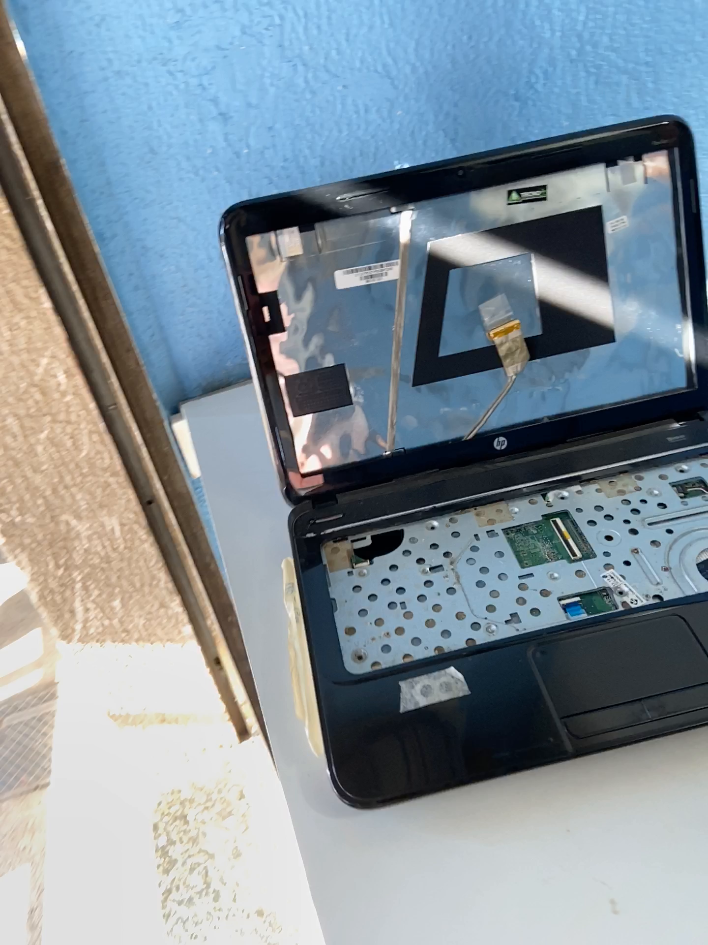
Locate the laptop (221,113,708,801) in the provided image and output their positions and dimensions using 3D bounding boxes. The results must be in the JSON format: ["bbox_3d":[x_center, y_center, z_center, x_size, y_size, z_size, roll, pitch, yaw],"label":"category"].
[{"bbox_3d":[0.113,-0.045,0.443,0.335,0.186,0.326,-13,40,-3],"label":"laptop"}]
